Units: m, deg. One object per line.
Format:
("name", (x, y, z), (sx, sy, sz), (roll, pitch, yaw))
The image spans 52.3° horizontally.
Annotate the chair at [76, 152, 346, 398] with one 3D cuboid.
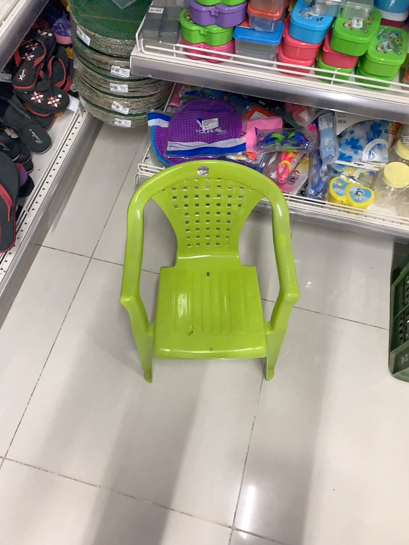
("chair", (0.012, 0.044, 0.893), (0.390, 0.469, 0.360), (0, 64, 1))
